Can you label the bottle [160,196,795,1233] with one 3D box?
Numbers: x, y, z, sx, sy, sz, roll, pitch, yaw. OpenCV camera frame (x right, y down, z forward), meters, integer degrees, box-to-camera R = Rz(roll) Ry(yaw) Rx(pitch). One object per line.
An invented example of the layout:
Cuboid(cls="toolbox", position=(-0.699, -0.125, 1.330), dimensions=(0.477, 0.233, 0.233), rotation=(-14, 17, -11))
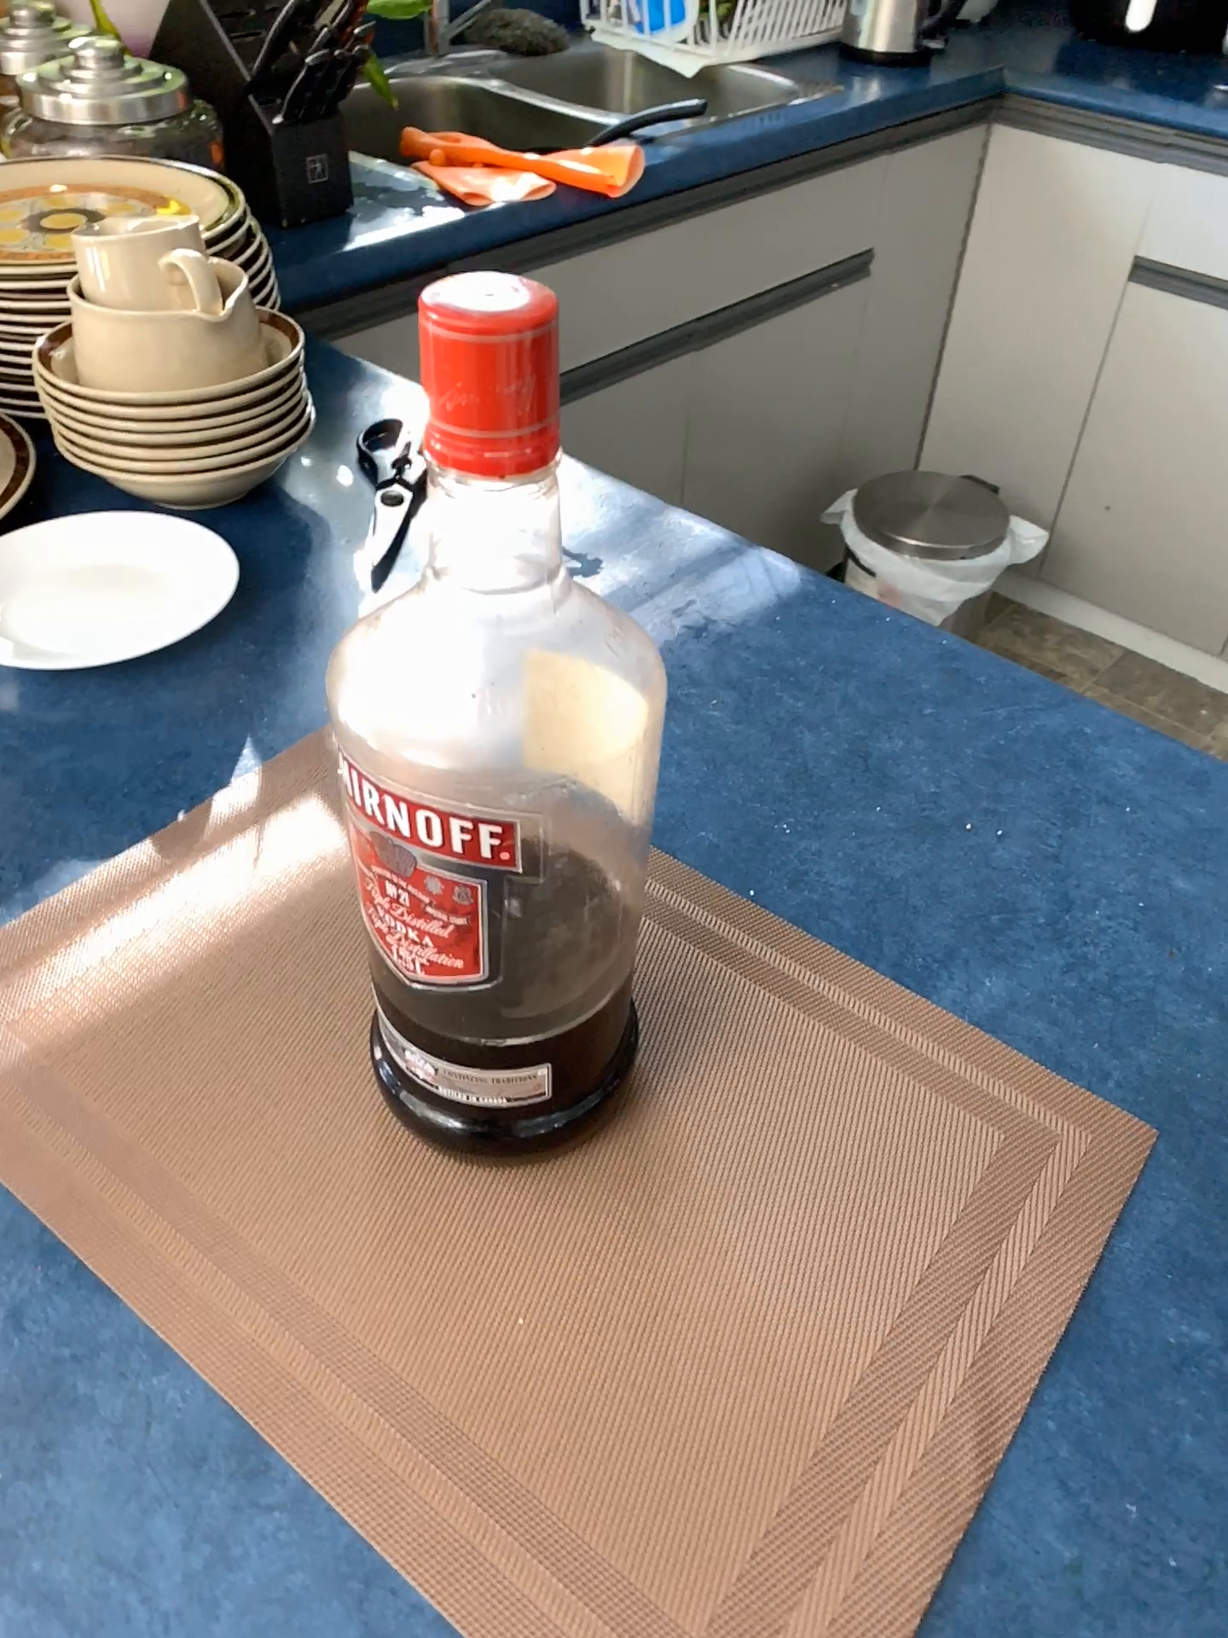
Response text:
Cuboid(cls="bottle", position=(-0.039, -0.017, 0.428), dimensions=(0.120, 0.317, 0.111), rotation=(2, 41, -2))
